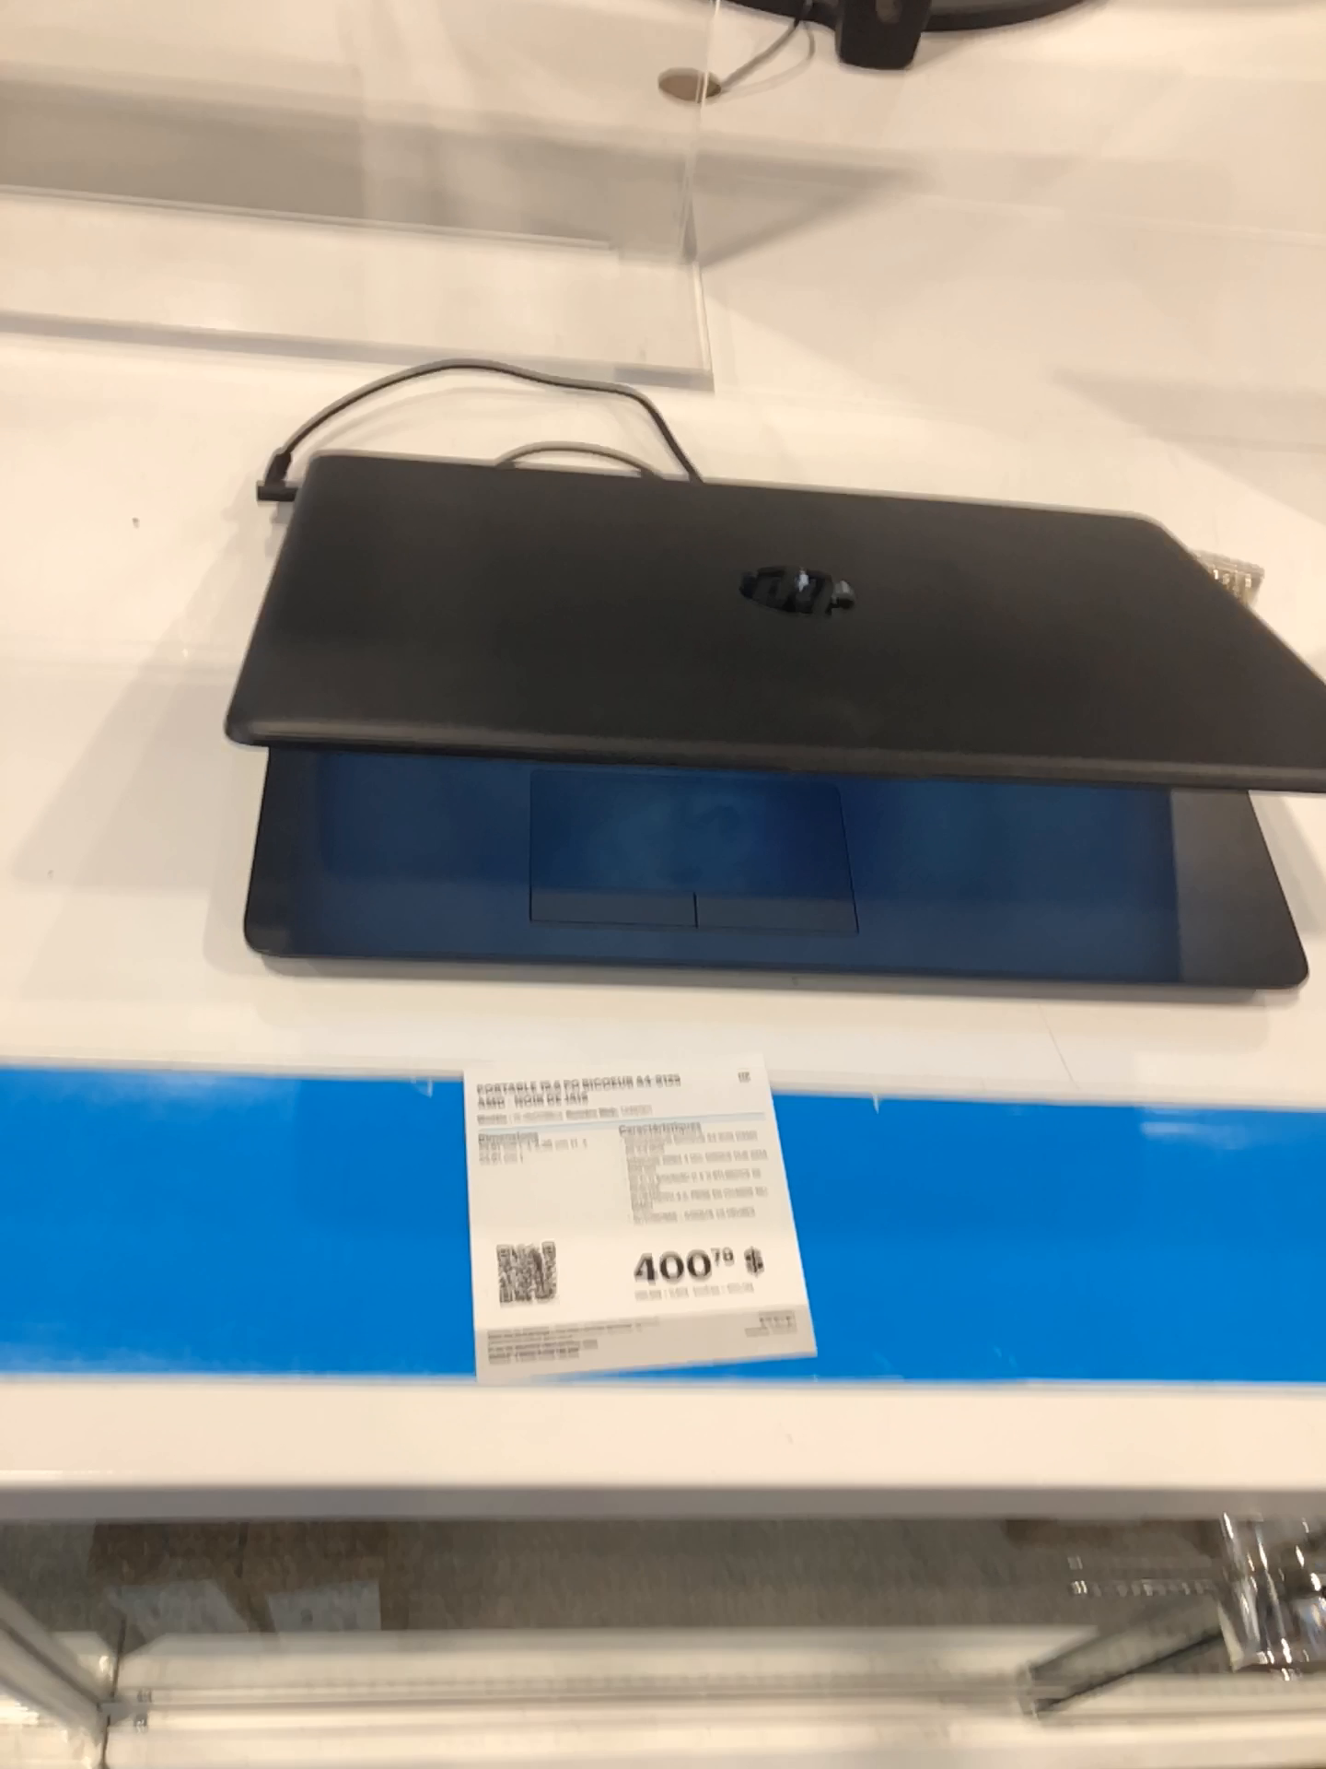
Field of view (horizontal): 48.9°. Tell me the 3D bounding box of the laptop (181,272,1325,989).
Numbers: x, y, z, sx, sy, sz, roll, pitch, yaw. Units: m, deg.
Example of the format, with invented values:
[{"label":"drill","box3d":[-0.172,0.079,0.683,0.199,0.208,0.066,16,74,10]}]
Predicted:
[{"label":"laptop","box3d":[0.042,-0.090,0.523,0.365,0.092,0.235,3,54,-11]}]
